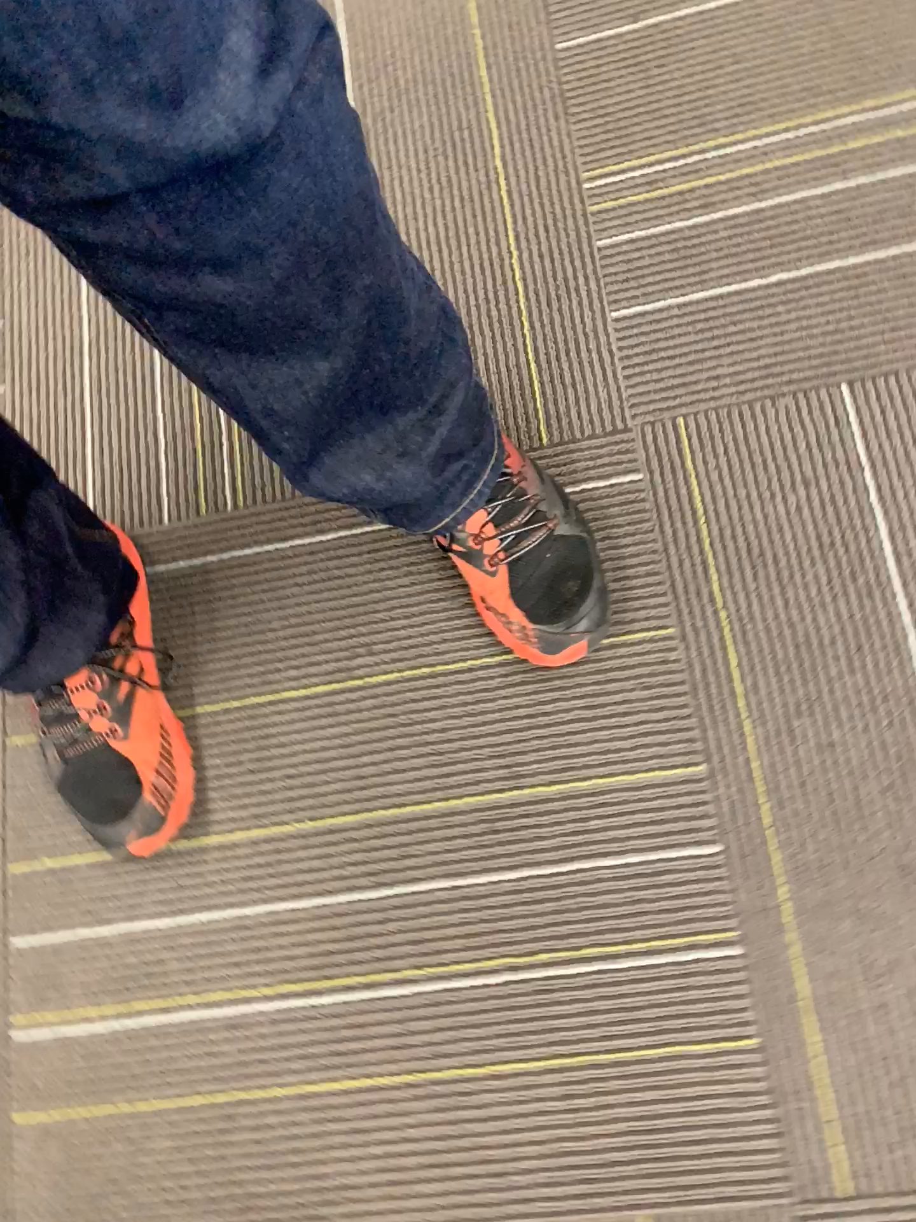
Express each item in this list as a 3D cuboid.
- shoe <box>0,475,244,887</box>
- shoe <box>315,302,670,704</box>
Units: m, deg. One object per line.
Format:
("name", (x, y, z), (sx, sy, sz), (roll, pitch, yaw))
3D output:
("shoe", (-0.312, 0.062, 0.824), (0.120, 0.120, 0.320), (-23, 73, 5))
("shoe", (0.027, -0.089, 0.774), (0.130, 0.100, 0.301), (-36, 73, 1))
